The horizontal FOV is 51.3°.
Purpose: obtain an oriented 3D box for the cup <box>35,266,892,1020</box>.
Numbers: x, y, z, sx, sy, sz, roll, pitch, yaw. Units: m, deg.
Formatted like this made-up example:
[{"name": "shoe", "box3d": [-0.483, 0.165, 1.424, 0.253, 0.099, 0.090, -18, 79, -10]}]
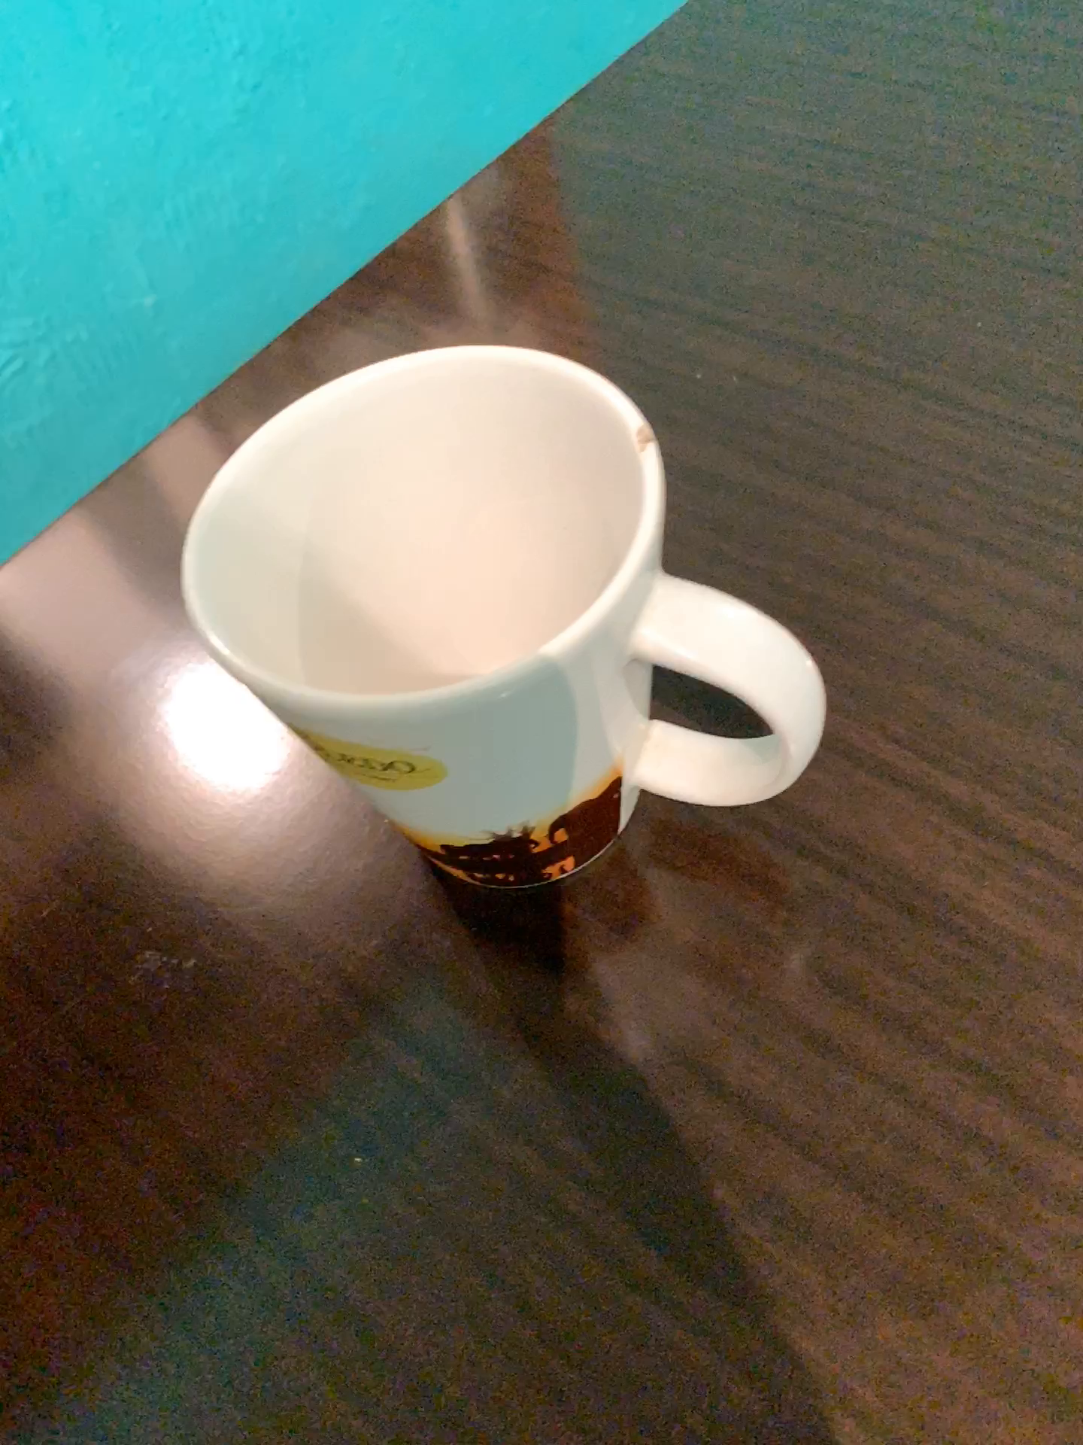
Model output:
[{"name": "cup", "box3d": [-0.004, -0.017, 0.208, 0.110, 0.080, 0.090, 13, 60, 20]}]
